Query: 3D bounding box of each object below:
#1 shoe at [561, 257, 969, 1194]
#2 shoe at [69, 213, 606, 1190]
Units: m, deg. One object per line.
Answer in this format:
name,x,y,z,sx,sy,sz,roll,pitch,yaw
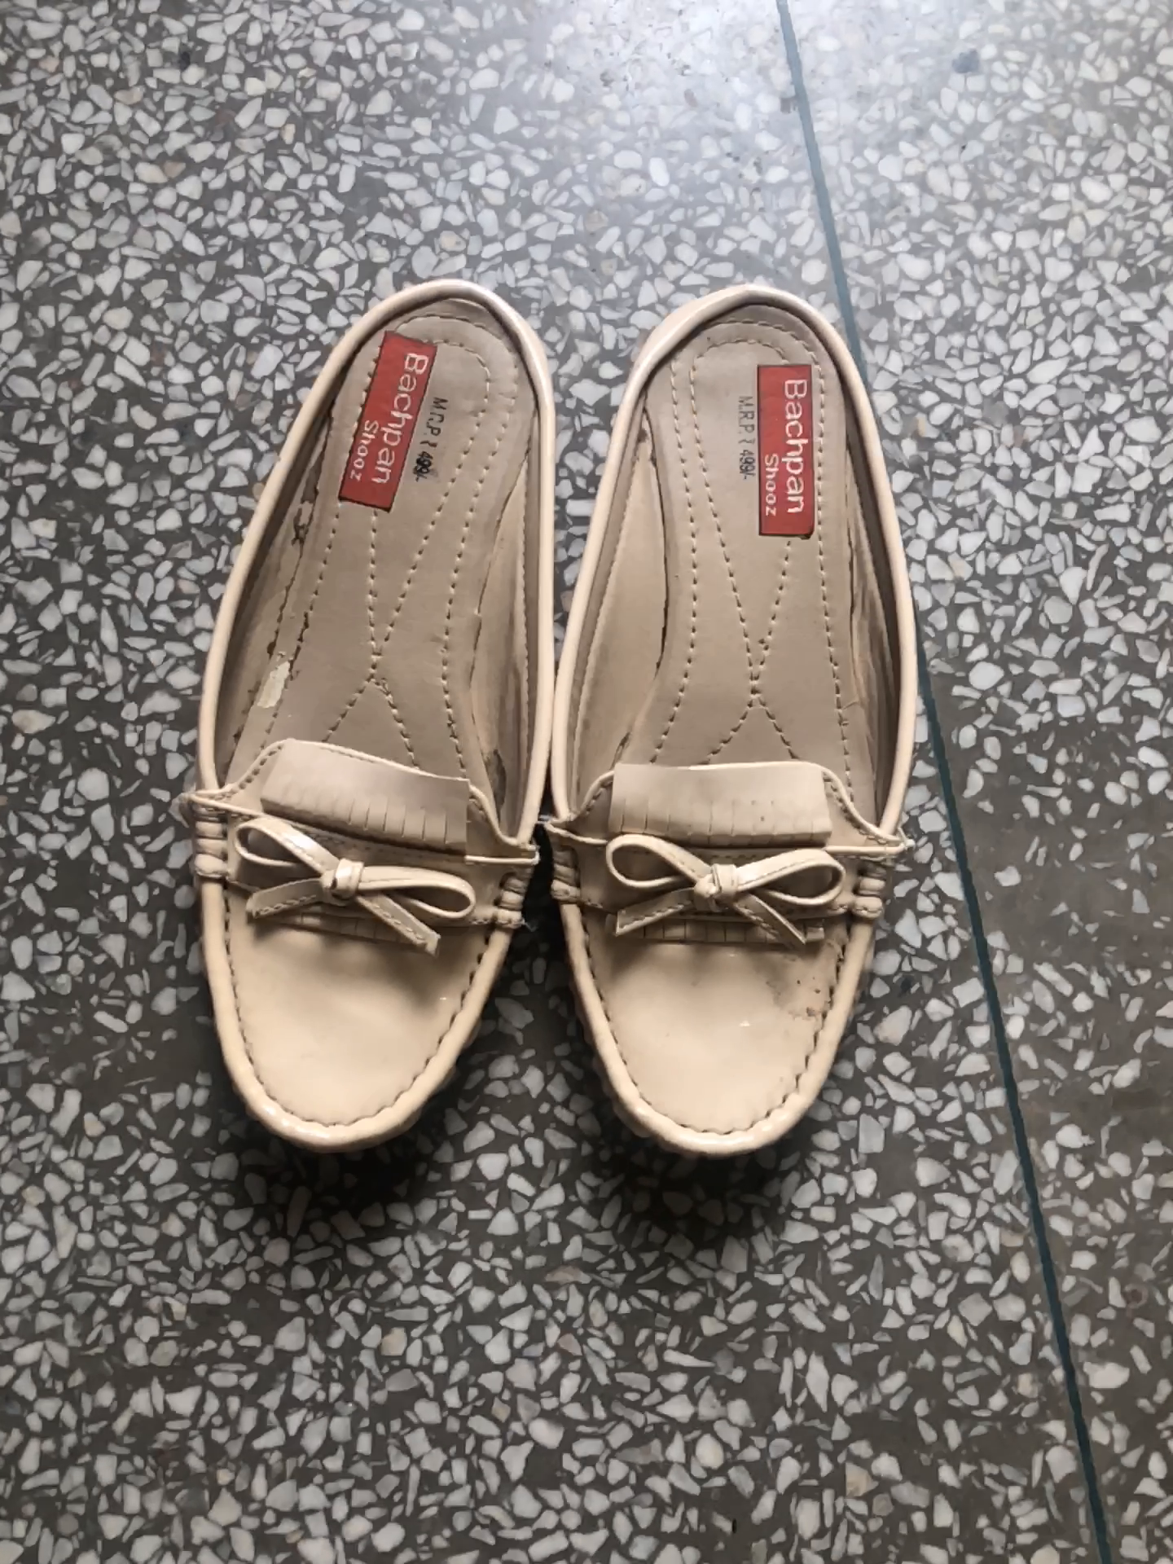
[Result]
shoe,0.042,-0.015,0.316,0.080,0.040,0.210,4,84,0
shoe,-0.056,-0.021,0.324,0.090,0.040,0.220,8,84,1
